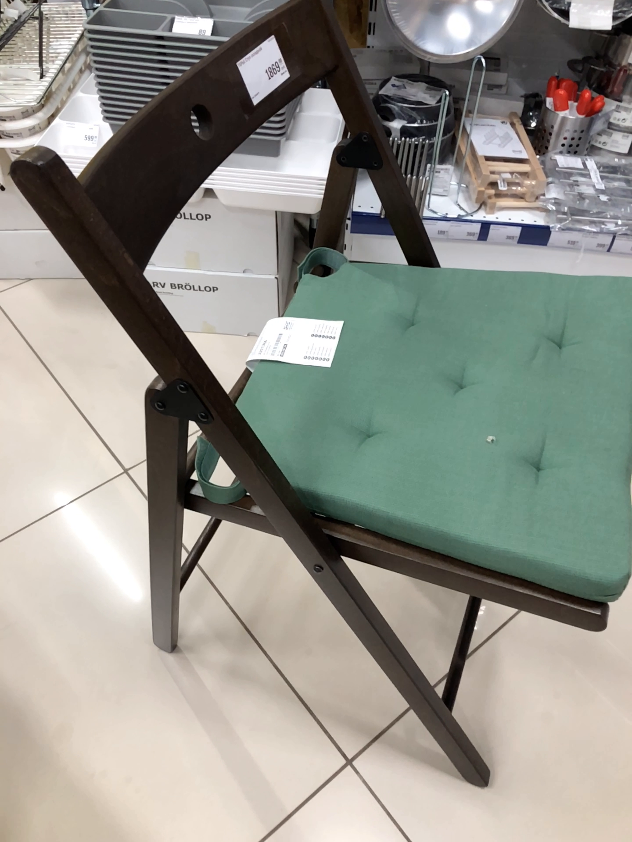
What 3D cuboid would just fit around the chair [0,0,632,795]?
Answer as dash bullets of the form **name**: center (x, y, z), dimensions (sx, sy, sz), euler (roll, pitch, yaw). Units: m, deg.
- **chair**: center (0.080, -0.011, 0.736), dimensions (0.480, 0.686, 0.443), euler (17, 51, 13)
